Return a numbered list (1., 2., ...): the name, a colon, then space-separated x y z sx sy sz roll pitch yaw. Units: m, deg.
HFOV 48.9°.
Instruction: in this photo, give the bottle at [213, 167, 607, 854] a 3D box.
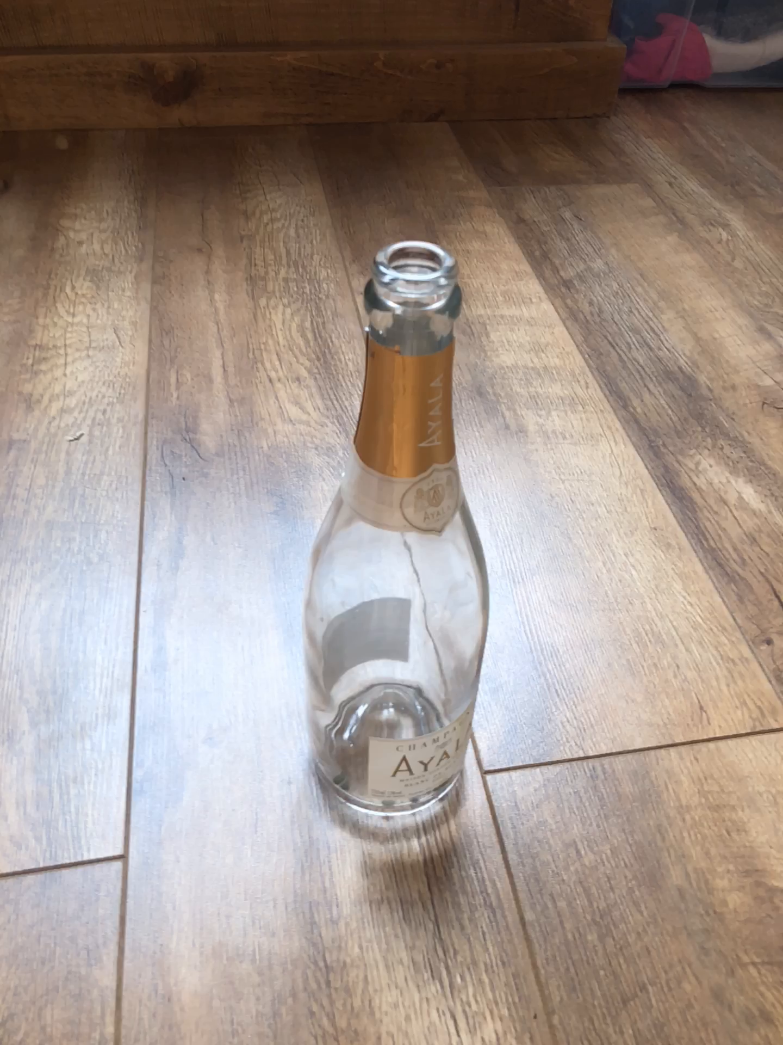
1. bottle: 0.000 0.019 0.378 0.090 0.298 0.090 1 45 -1
